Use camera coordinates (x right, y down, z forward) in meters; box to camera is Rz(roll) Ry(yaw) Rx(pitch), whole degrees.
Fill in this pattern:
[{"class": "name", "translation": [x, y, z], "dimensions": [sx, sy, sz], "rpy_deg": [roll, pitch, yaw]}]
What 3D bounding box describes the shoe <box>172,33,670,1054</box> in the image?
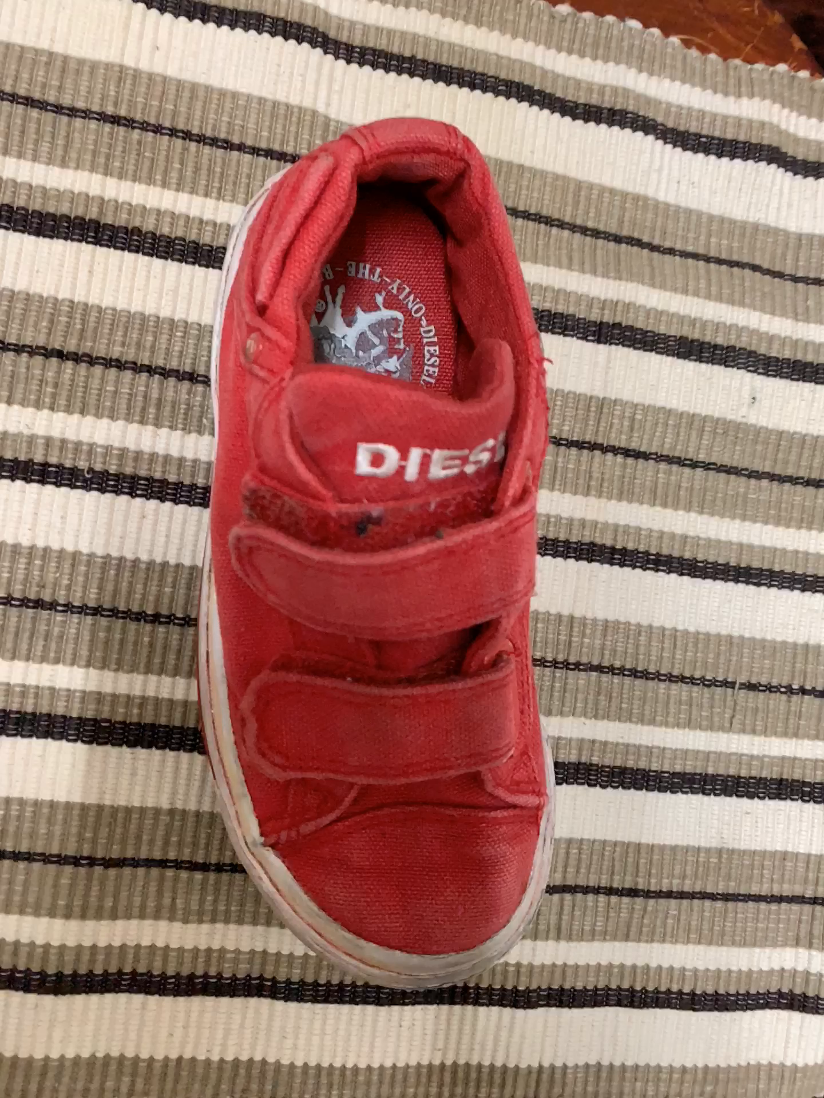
[{"class": "shoe", "translation": [-0.003, -0.003, 0.184], "dimensions": [0.080, 0.070, 0.170], "rpy_deg": [-3, 90, -11]}]
